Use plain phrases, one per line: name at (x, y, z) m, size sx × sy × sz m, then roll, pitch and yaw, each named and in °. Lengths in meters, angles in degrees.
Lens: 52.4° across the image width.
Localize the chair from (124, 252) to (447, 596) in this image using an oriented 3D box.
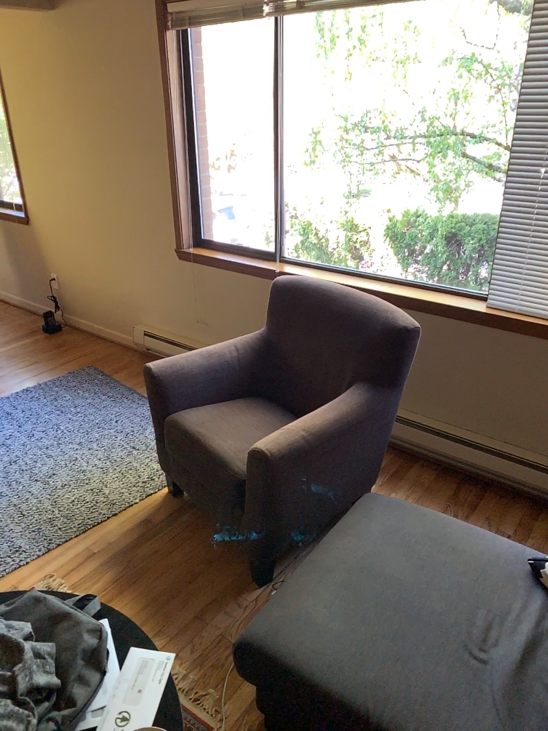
chair at (0.005, 0.115, 2.205) m, size 0.800 × 0.875 × 0.884 m, roll -16°, pitch 29°, yaw -36°
